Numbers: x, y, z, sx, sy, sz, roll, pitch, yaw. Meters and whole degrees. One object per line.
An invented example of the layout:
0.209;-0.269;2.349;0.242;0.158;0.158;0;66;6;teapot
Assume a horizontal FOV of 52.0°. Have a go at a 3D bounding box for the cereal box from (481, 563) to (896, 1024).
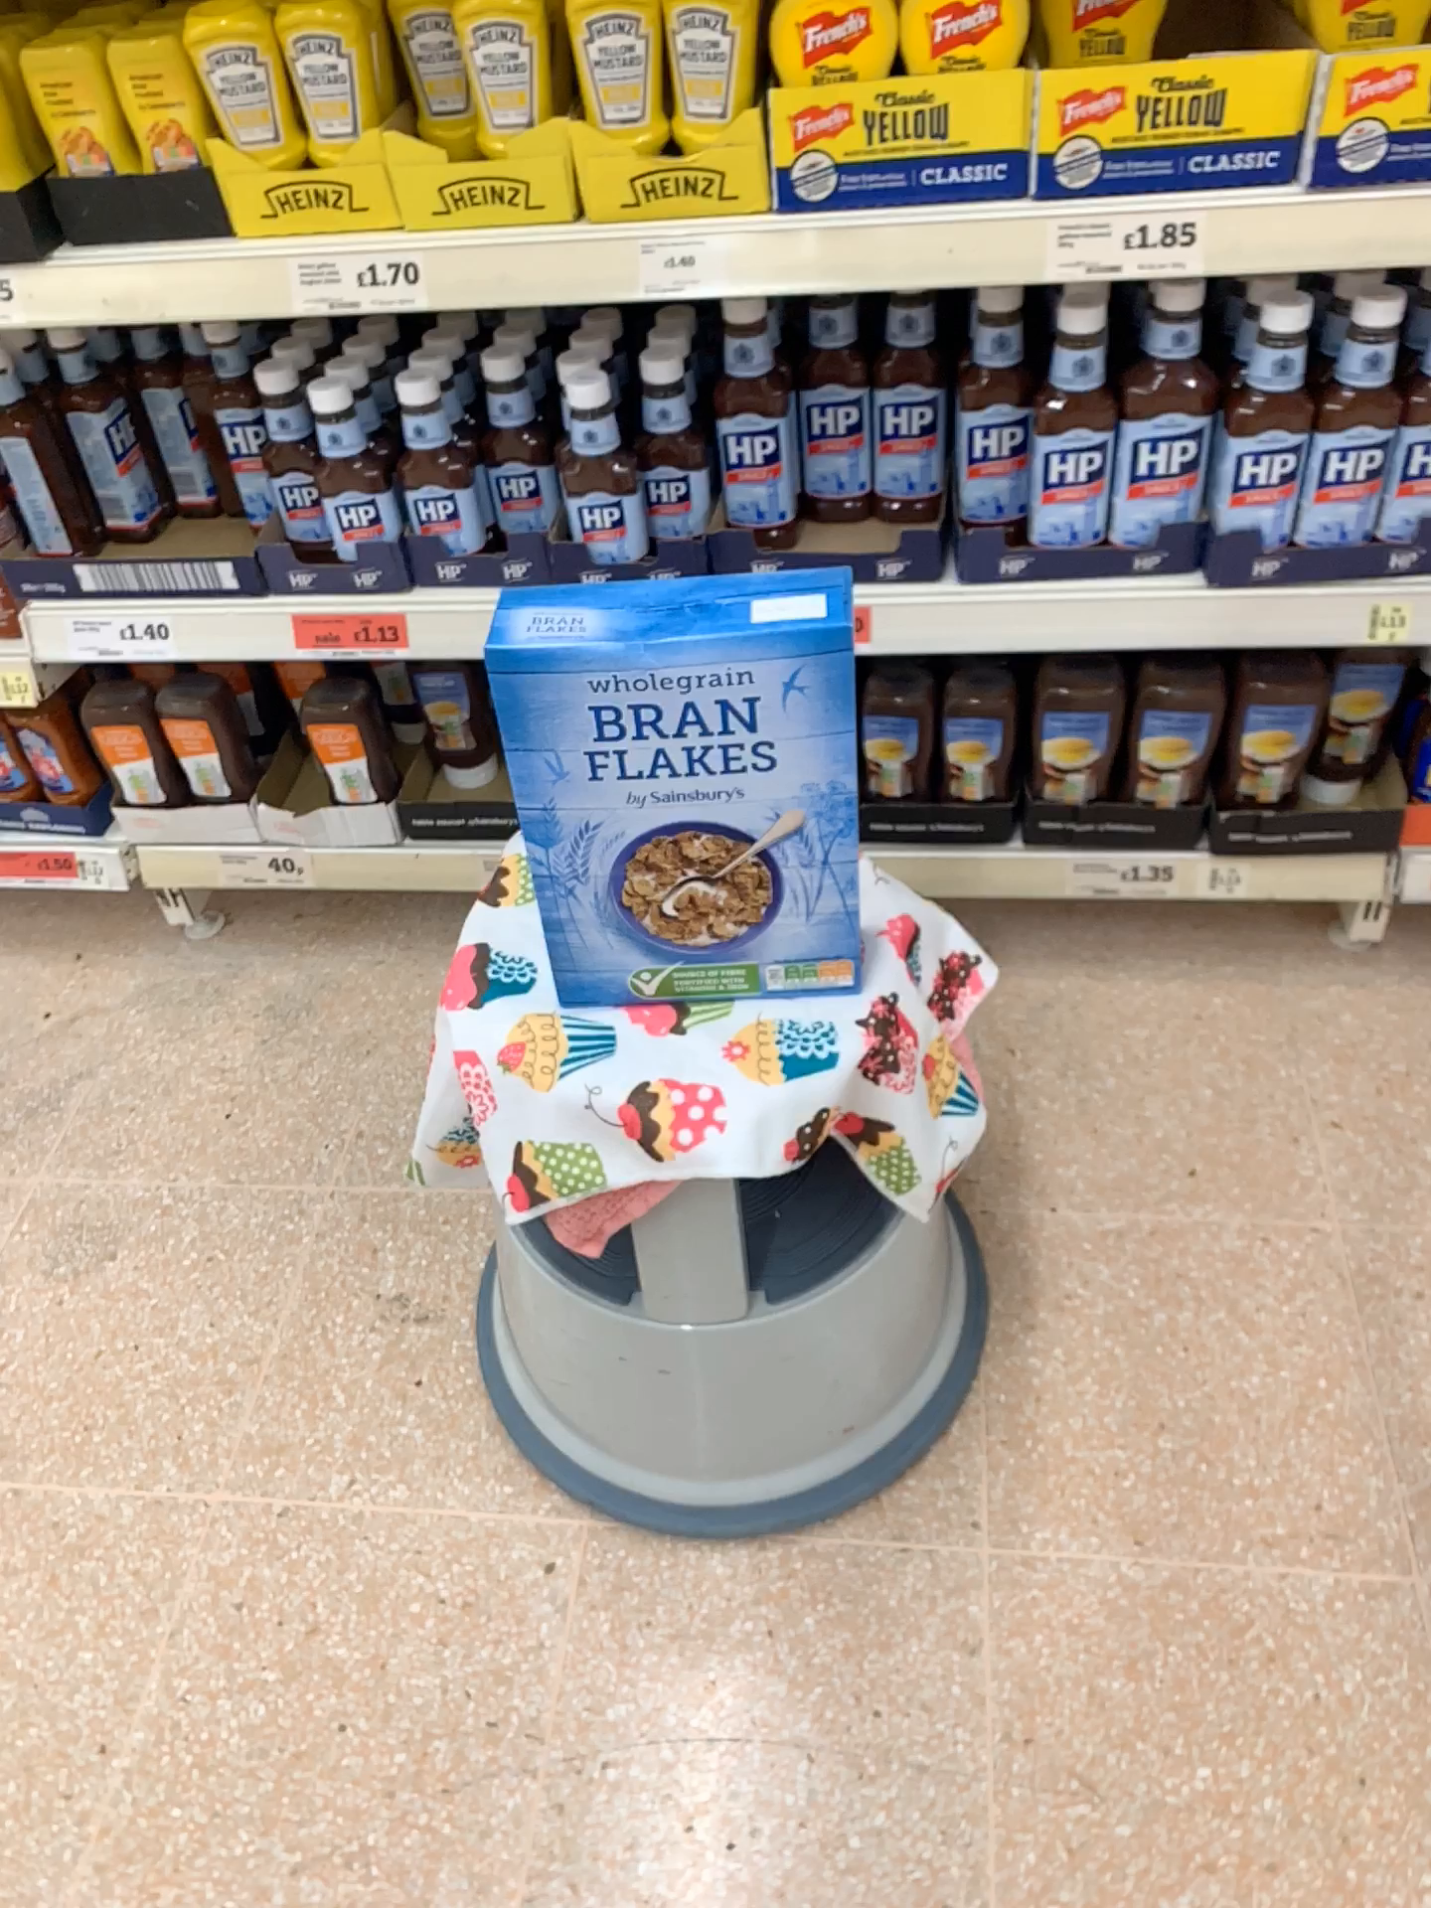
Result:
-0.004;-0.084;0.862;0.210;0.258;0.081;-3;41;4;cereal box
